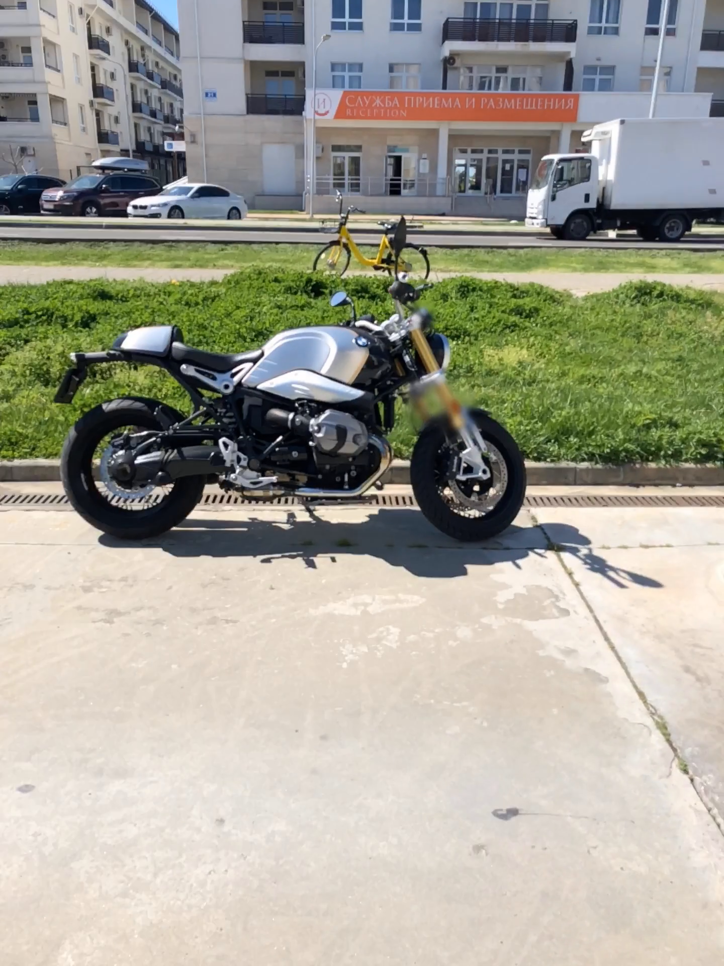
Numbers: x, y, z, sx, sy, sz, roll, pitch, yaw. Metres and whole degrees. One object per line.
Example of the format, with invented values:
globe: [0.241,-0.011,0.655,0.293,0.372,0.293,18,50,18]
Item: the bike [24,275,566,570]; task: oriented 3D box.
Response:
bike: [-0.286,-0.308,3.496,2.068,1.123,0.649,-2,20,-7]
